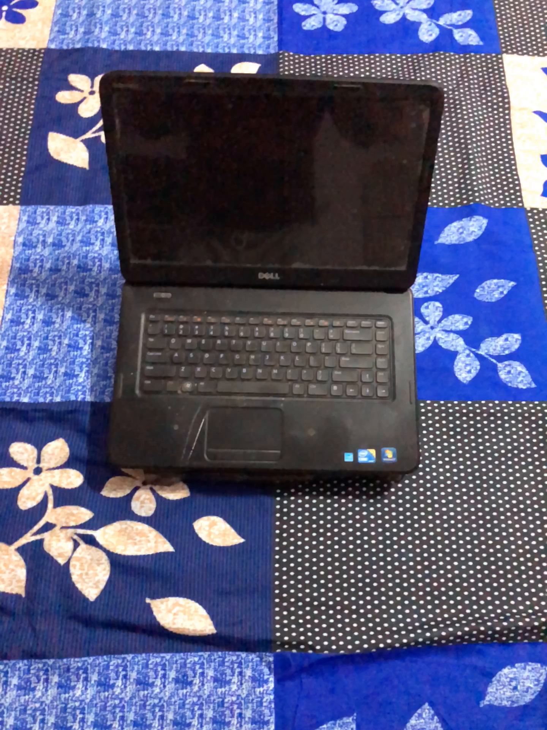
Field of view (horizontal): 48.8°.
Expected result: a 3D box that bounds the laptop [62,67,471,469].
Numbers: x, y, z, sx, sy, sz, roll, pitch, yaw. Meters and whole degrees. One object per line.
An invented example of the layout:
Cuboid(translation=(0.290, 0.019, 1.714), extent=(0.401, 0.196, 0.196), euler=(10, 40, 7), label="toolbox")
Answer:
Cuboid(translation=(-0.003, -0.098, 0.680), extent=(0.363, 0.187, 0.389), euler=(1, 72, -2), label="laptop")
